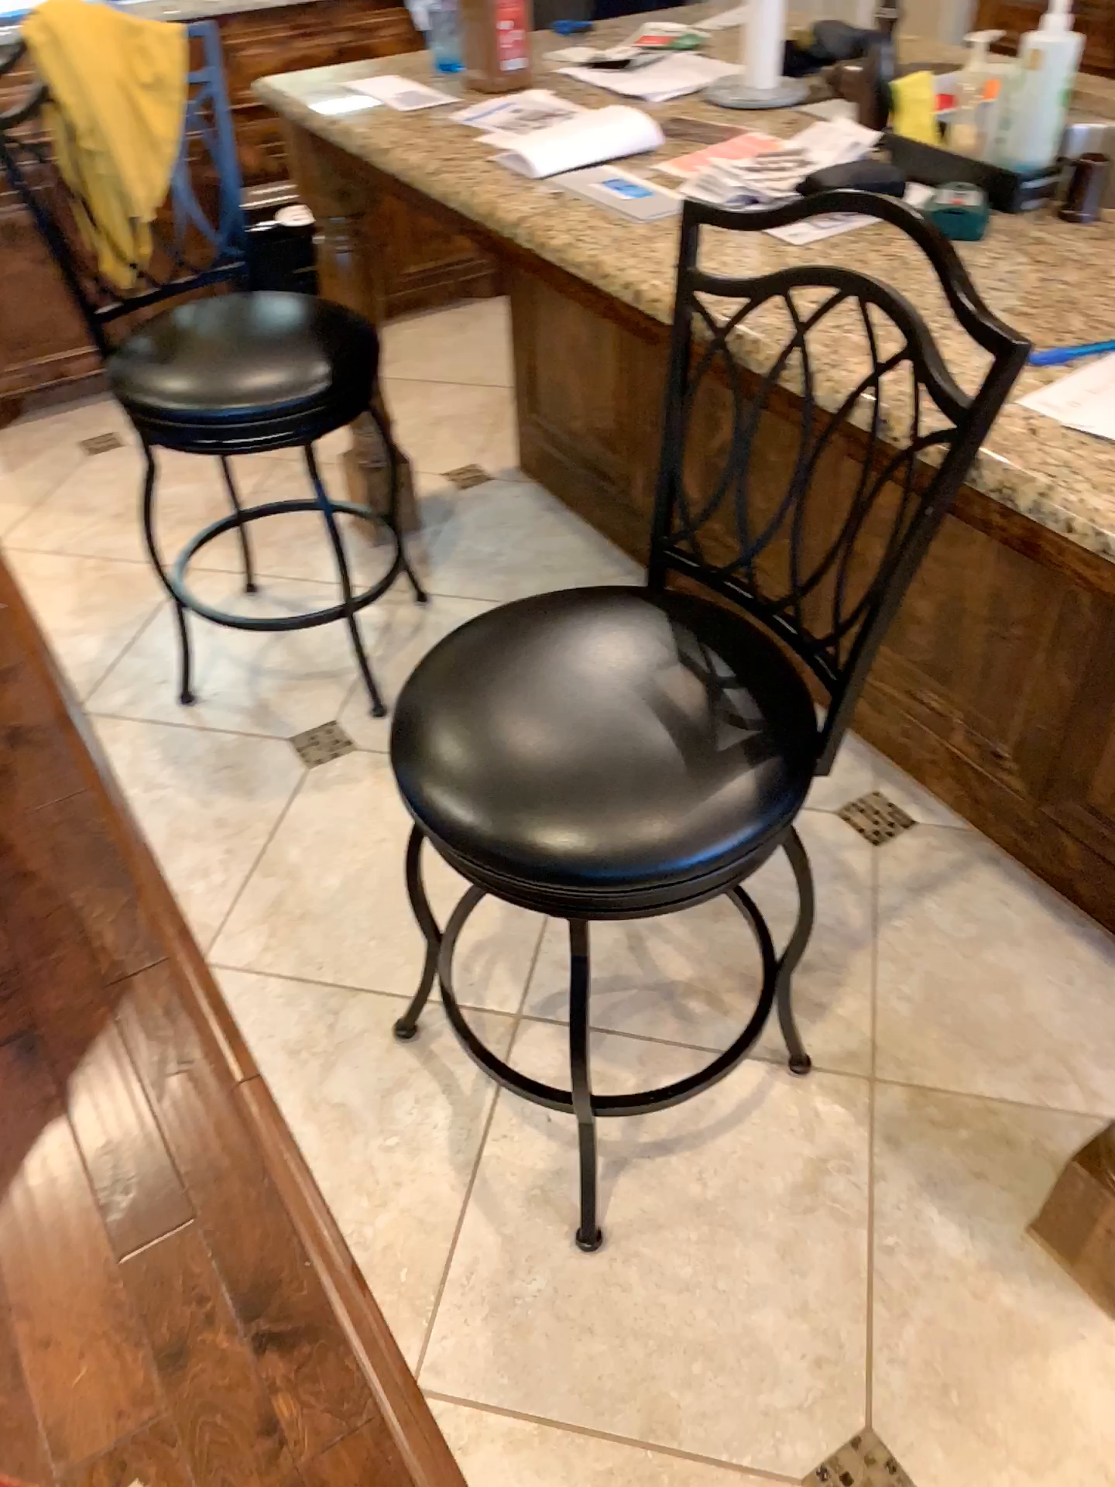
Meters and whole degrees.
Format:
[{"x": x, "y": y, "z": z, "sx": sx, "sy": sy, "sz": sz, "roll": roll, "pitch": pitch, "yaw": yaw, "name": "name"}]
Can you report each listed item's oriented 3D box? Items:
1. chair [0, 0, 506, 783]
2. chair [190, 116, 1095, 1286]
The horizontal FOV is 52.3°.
[{"x": -0.505, "y": -0.603, "z": 1.849, "sx": 0.588, "sy": 1.098, "sz": 0.557, "roll": -22, "pitch": 46, "yaw": -21, "name": "chair"}, {"x": 0.066, "y": 0.009, "z": 1.221, "sx": 0.505, "sy": 1.068, "sz": 0.469, "roll": -27, "pitch": 48, "yaw": -25, "name": "chair"}]
